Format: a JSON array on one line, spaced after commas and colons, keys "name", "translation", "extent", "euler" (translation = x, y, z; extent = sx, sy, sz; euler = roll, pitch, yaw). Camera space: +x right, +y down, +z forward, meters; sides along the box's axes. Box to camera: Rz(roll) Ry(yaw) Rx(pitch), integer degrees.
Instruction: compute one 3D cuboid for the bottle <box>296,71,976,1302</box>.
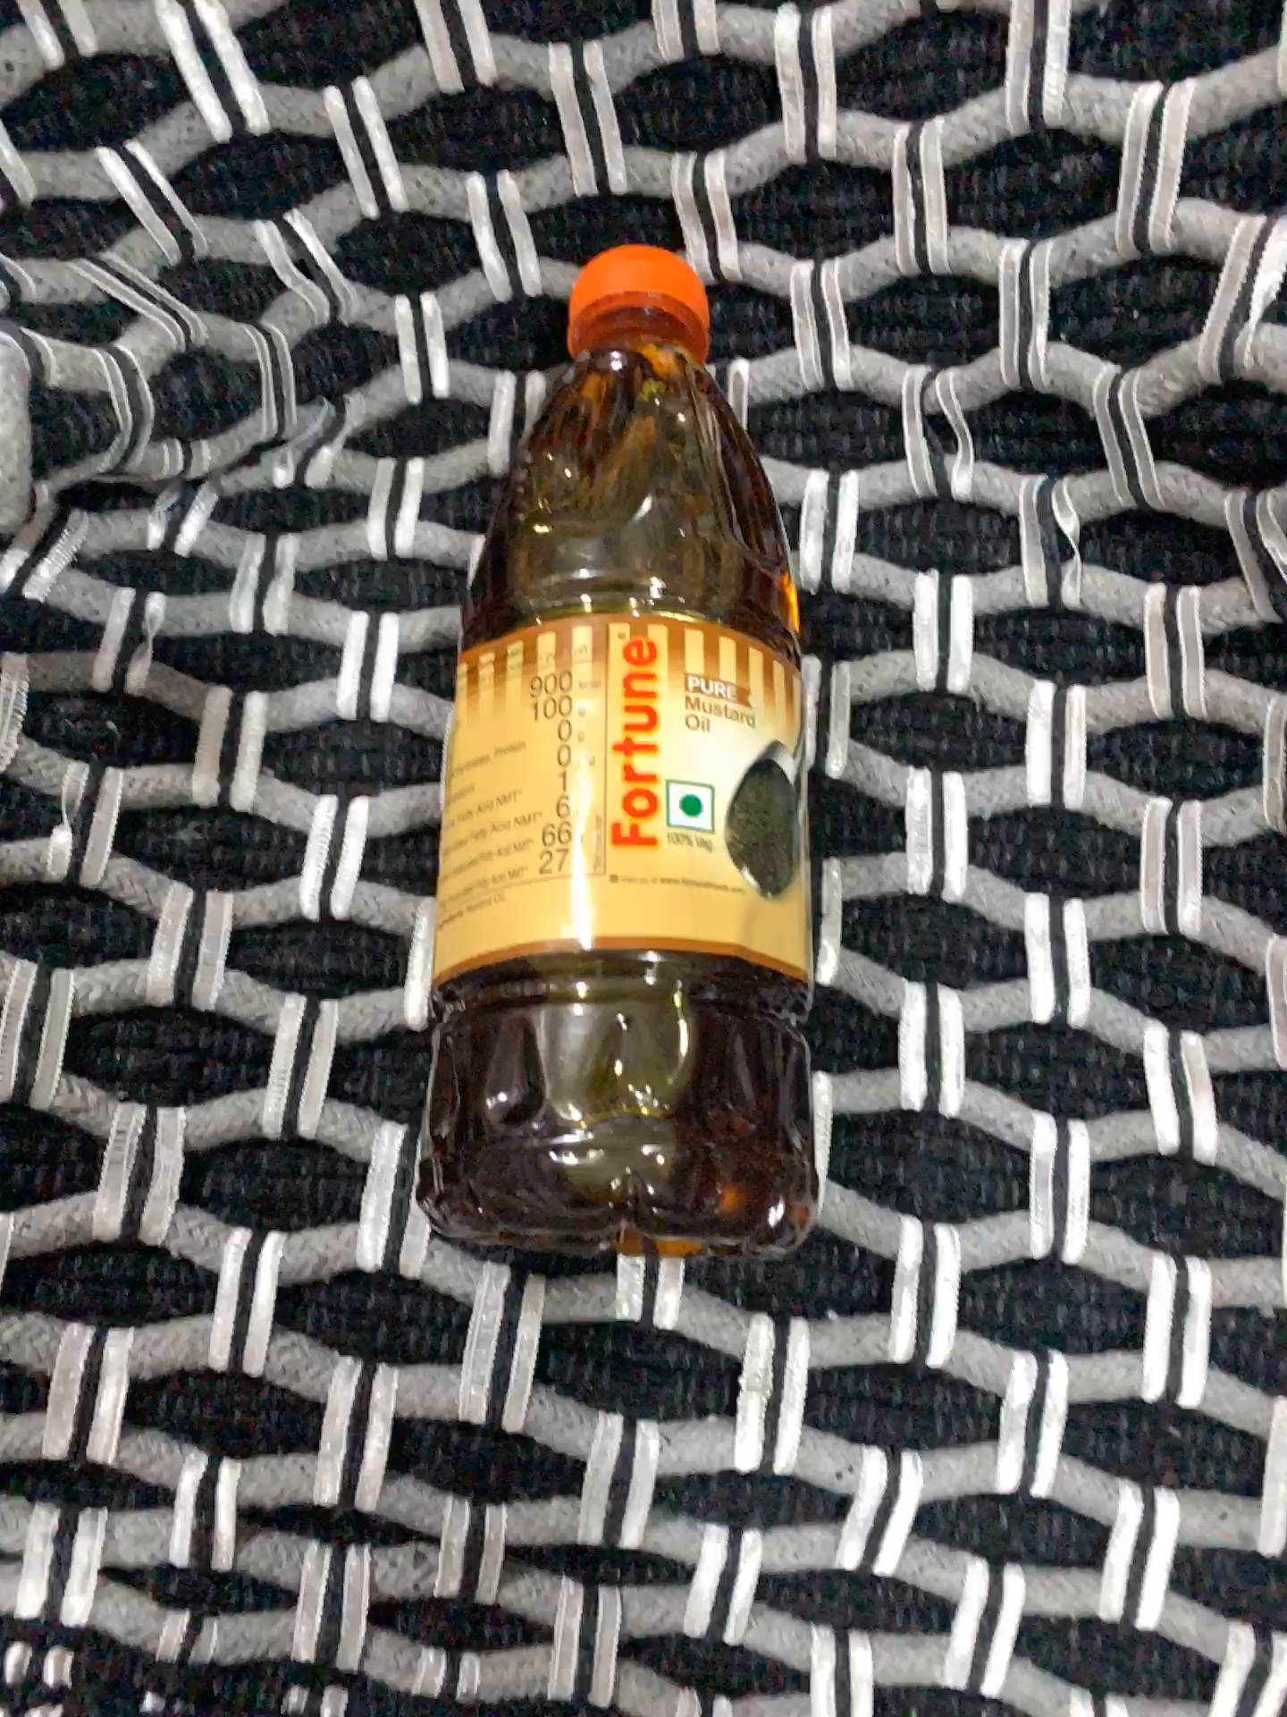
[{"name": "bottle", "translation": [-0.001, -0.033, 0.267], "extent": [0.080, 0.080, 0.220], "euler": [-22, 57, 39]}]
